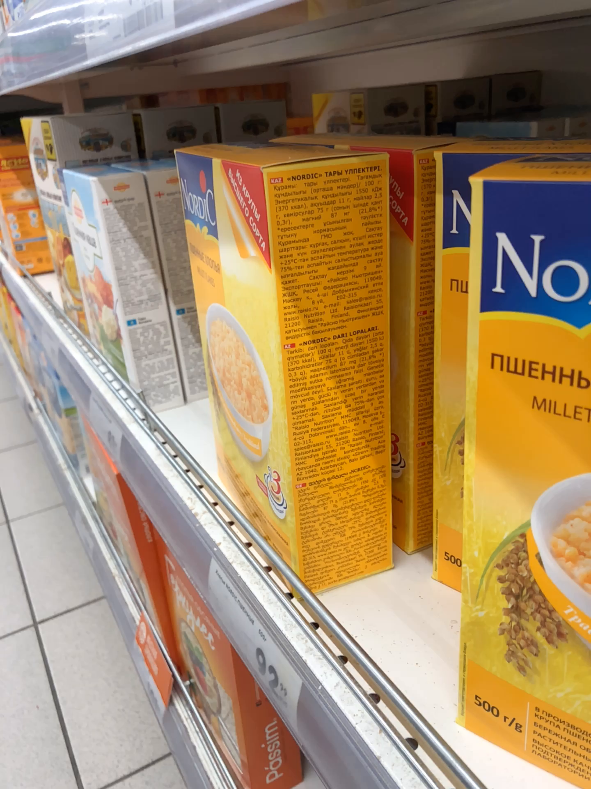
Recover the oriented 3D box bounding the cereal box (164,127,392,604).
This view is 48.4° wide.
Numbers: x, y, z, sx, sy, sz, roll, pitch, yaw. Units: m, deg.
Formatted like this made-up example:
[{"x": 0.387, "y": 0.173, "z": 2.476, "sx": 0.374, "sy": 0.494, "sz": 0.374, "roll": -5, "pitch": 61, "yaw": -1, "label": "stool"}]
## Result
[{"x": -0.011, "y": -0.026, "z": 0.347, "sx": 0.060, "sy": 0.209, "sz": 0.141, "roll": -12, "pitch": 25, "yaw": -18, "label": "cereal box"}]
